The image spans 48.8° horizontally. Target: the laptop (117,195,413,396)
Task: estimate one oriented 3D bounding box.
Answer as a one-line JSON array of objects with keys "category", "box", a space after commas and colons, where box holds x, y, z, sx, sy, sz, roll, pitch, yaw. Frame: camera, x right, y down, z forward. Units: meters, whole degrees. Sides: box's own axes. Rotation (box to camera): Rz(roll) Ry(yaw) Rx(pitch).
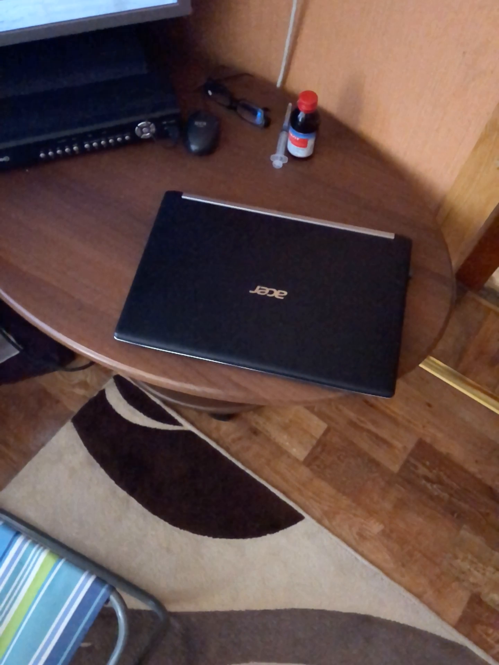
[{"category": "laptop", "box": [0.033, -0.062, 0.757, 0.363, 0.004, 0.240, 12, 64, 3]}]
